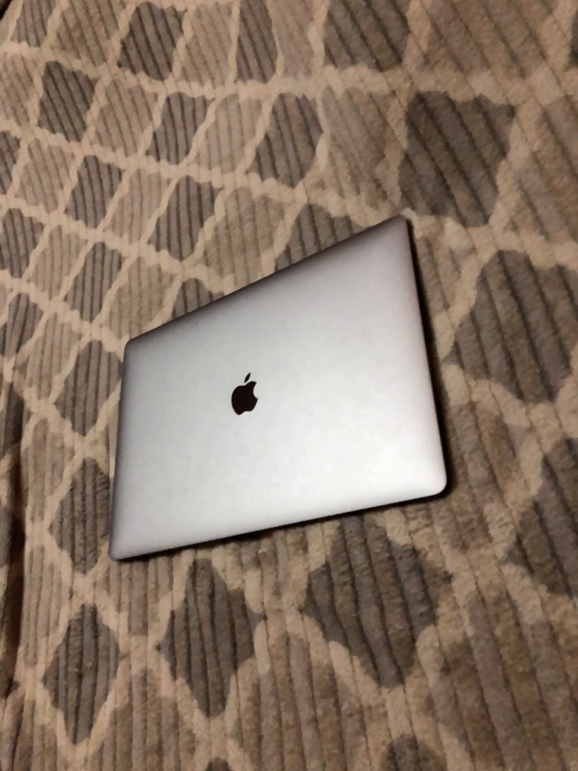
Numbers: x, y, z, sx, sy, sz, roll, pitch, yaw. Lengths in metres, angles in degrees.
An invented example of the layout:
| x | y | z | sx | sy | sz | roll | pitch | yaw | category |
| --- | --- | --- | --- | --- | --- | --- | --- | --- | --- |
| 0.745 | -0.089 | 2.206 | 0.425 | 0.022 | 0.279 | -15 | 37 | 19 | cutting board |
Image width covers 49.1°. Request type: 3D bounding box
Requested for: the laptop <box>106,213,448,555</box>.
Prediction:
| x | y | z | sx | sy | sz | roll | pitch | yaw | category |
| --- | --- | --- | --- | --- | --- | --- | --- | --- | --- |
| -0.041 | 0.010 | 0.590 | 0.358 | 0.007 | 0.246 | -19 | 60 | 31 | laptop |
